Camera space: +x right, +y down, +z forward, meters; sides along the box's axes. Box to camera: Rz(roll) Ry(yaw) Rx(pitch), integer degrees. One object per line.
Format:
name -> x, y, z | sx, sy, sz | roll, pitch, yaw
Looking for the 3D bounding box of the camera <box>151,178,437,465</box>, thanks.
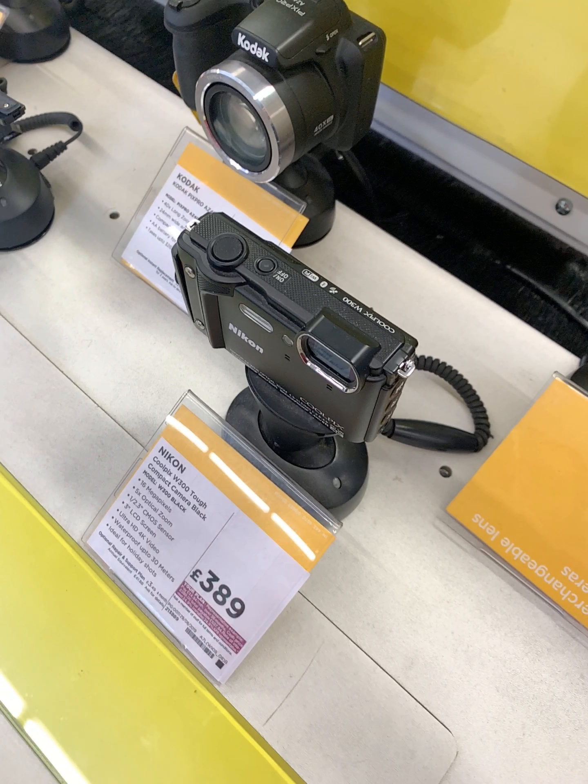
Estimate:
camera -> -0.004, -0.029, 0.265 | 0.120, 0.070, 0.030 | 38, 67, 17
